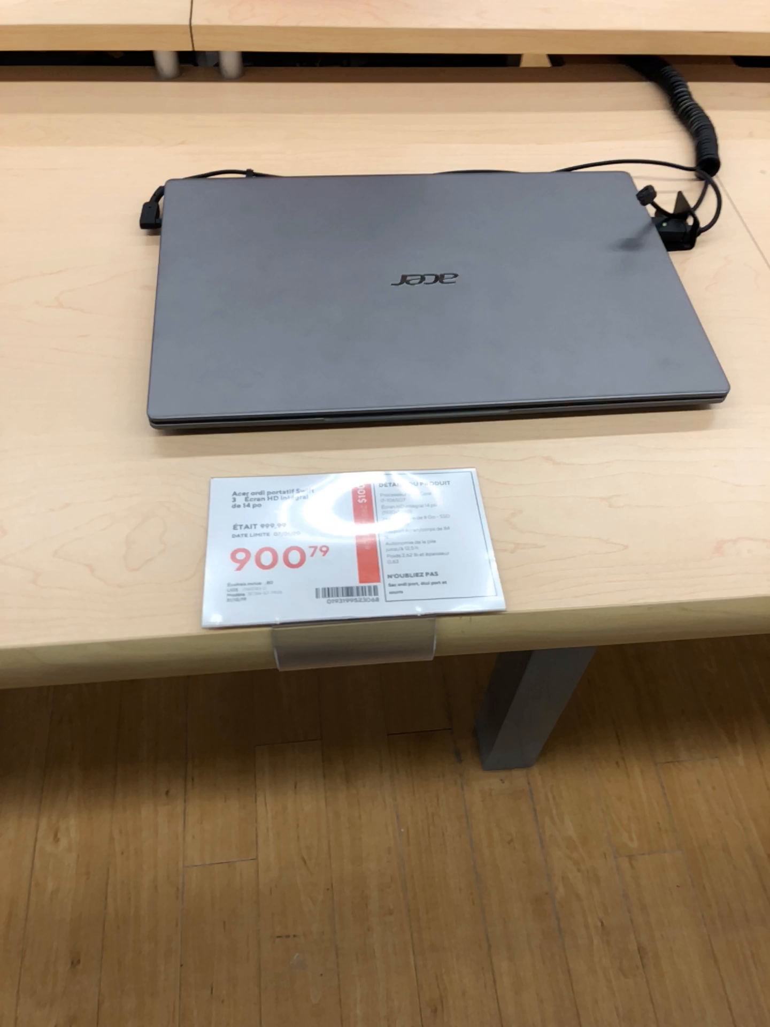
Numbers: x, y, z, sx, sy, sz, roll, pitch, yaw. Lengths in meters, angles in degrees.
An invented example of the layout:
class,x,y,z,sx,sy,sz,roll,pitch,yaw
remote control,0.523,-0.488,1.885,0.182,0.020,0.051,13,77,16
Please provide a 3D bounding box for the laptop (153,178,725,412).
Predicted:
class,x,y,z,sx,sy,sz,roll,pitch,yaw
laptop,0.023,-0.141,0.505,0.306,0.001,0.201,-3,54,-6
